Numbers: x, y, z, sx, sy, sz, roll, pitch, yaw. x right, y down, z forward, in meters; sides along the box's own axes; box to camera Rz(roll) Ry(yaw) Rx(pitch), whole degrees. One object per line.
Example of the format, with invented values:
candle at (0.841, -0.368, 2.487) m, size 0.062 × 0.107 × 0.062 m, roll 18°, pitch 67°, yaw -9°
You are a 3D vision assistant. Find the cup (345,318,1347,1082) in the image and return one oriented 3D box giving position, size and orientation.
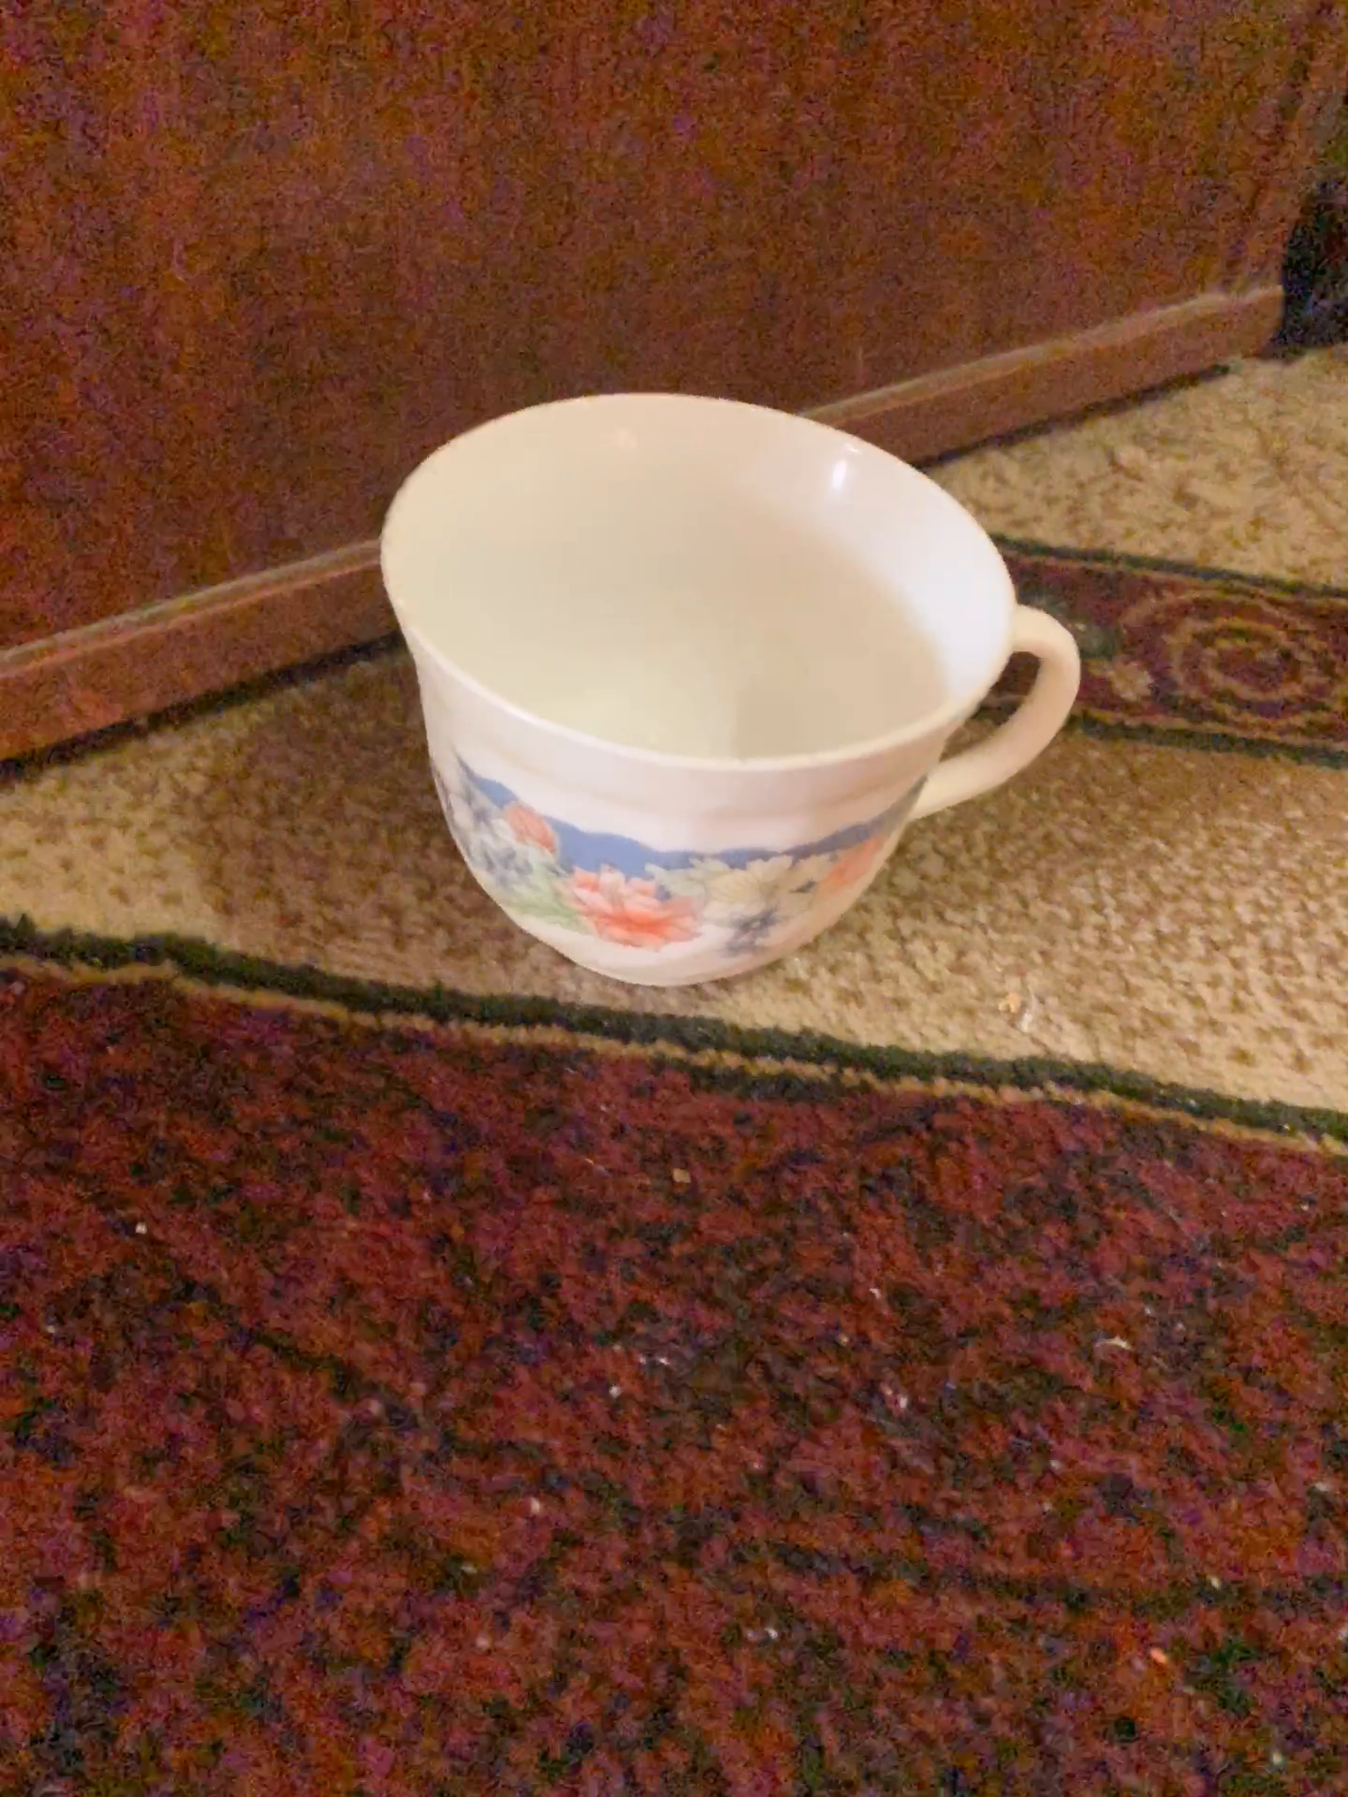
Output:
cup at (0.018, -0.033, 0.194) m, size 0.109 × 0.053 × 0.083 m, roll -9°, pitch 47°, yaw -14°
